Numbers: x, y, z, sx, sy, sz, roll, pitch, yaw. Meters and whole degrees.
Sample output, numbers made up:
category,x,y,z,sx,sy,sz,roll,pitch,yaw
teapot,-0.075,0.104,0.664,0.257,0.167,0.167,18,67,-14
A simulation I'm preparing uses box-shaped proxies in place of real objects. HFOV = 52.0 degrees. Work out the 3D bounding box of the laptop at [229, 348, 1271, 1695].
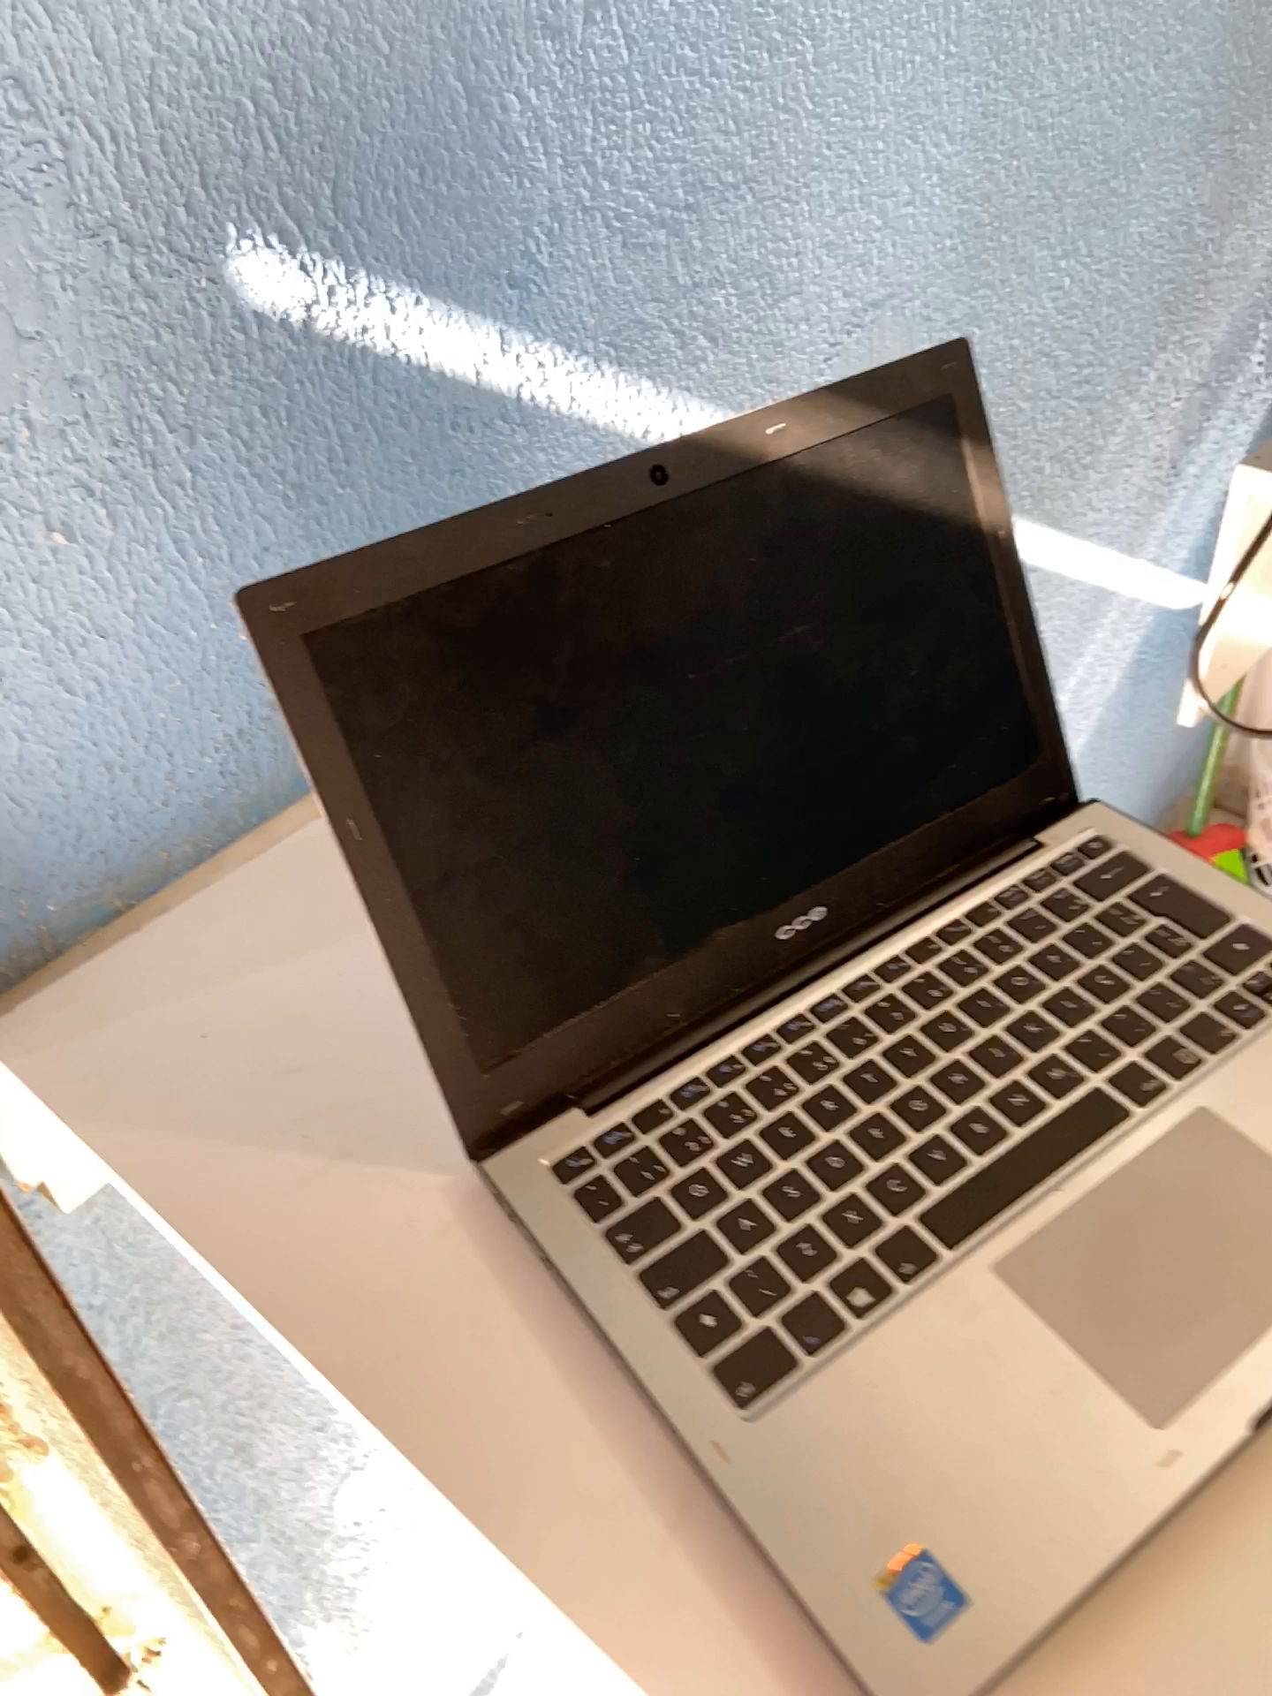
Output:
category,x,y,z,sx,sy,sz,roll,pitch,yaw
laptop,0.098,0.004,0.418,0.314,0.181,0.304,-26,43,-25
